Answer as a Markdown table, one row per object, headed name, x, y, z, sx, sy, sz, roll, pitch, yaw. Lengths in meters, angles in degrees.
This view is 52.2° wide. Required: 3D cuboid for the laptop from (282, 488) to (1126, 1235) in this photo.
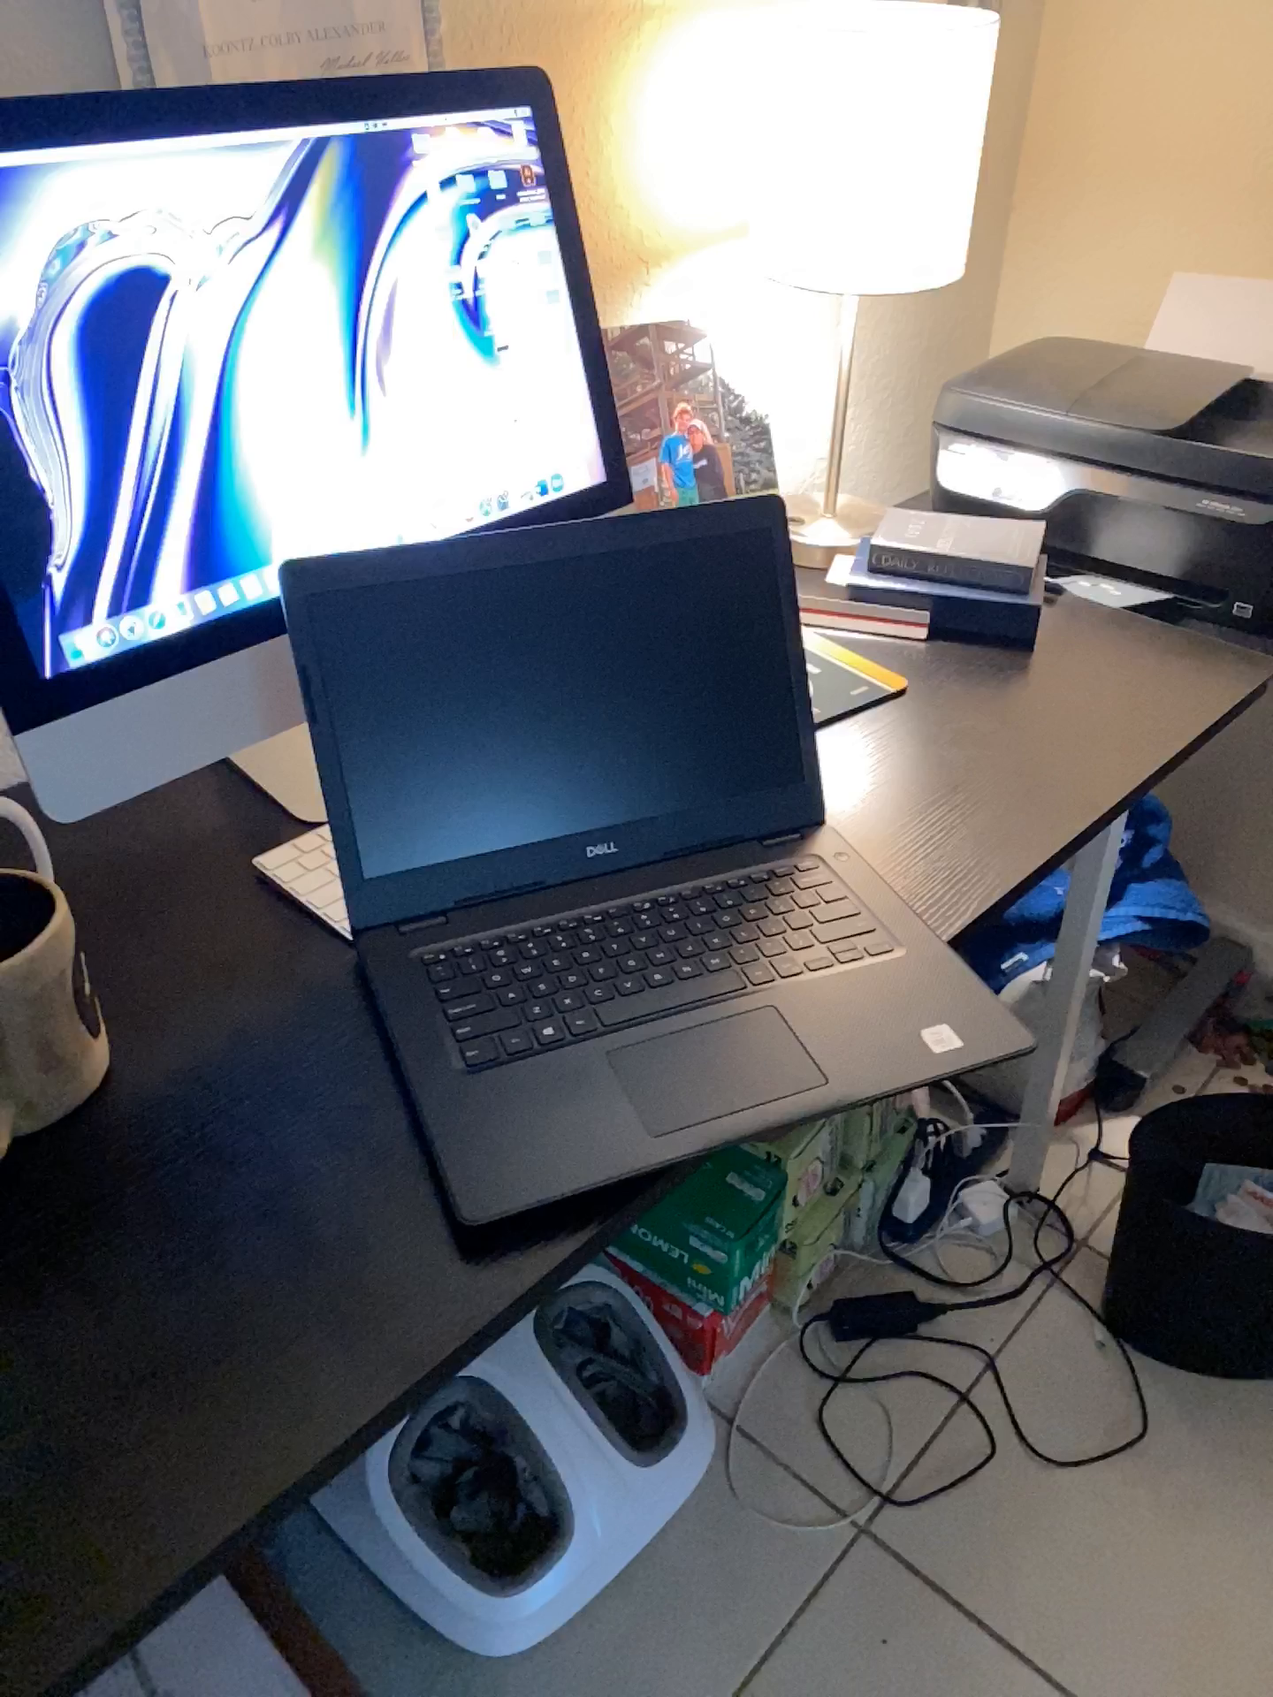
| name | x | y | z | sx | sy | sz | roll | pitch | yaw |
| --- | --- | --- | --- | --- | --- | --- | --- | --- | --- |
| laptop | 0.010 | -0.028 | 0.751 | 0.336 | 0.206 | 0.344 | -13 | 37 | -18 |
